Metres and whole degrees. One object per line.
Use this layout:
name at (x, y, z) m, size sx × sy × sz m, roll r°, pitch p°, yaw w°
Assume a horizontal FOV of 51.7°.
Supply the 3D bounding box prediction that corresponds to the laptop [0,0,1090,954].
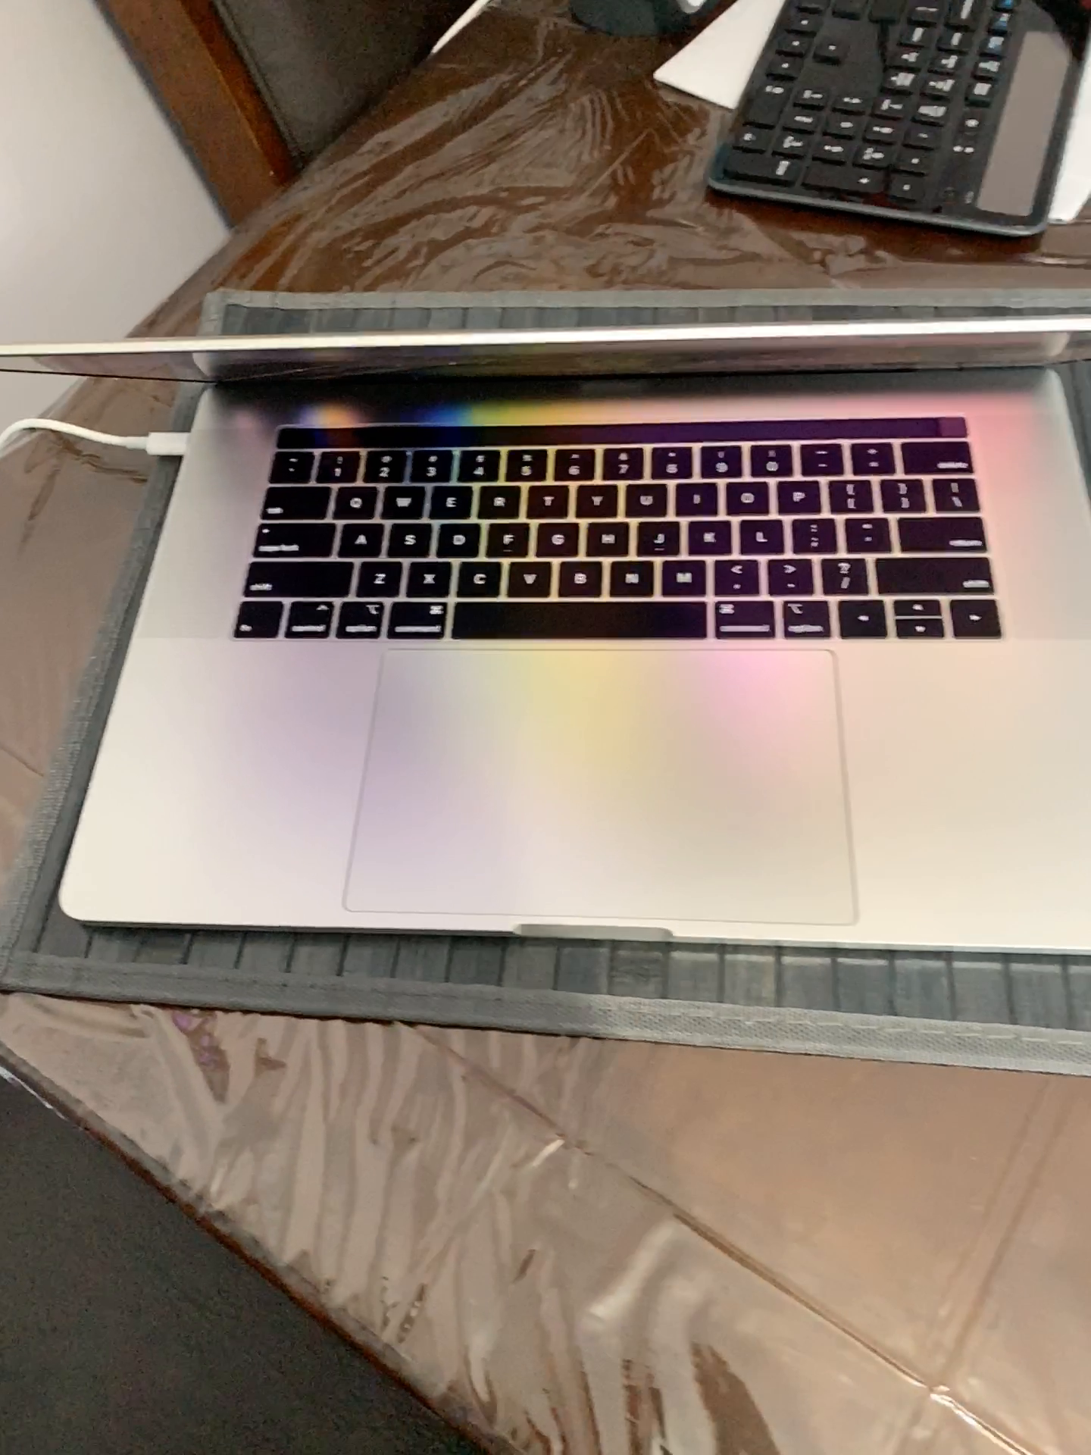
laptop at (0.014, -0.080, 0.329) m, size 0.342 × 0.166 × 0.233 m, roll 1°, pitch 61°, yaw 6°
